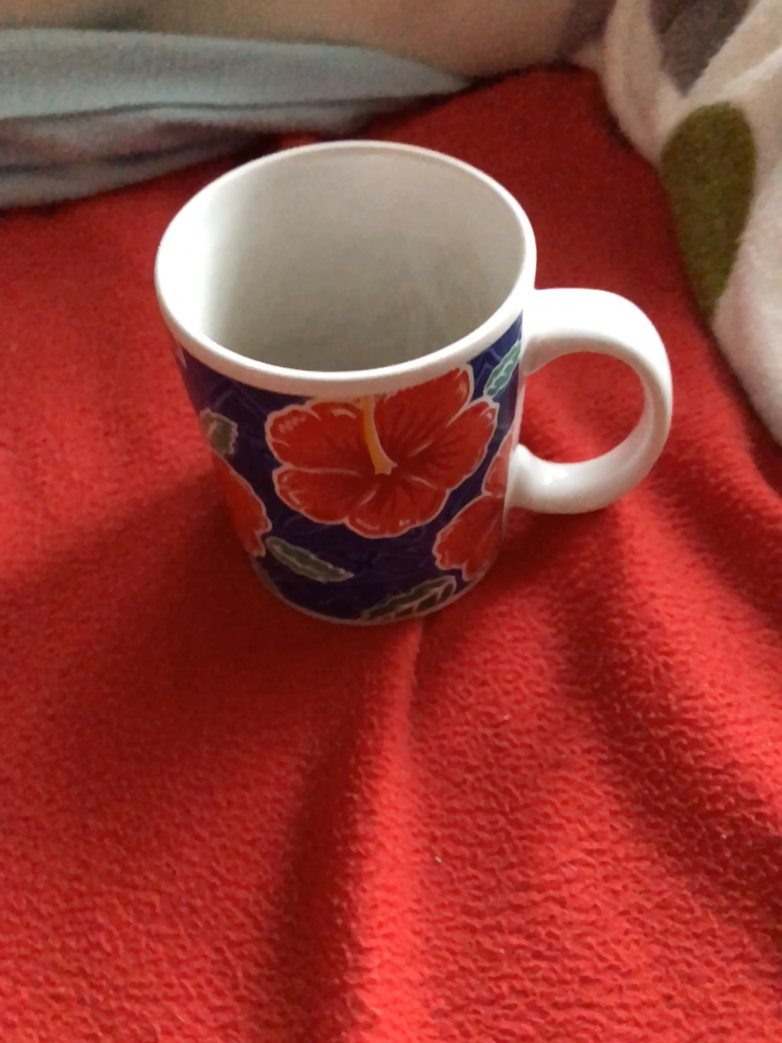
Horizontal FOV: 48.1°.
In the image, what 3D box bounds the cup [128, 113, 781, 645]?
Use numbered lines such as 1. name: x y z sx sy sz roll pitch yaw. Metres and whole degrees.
1. cup: 0.011 -0.034 0.226 0.120 0.100 0.090 -1 52 -1
